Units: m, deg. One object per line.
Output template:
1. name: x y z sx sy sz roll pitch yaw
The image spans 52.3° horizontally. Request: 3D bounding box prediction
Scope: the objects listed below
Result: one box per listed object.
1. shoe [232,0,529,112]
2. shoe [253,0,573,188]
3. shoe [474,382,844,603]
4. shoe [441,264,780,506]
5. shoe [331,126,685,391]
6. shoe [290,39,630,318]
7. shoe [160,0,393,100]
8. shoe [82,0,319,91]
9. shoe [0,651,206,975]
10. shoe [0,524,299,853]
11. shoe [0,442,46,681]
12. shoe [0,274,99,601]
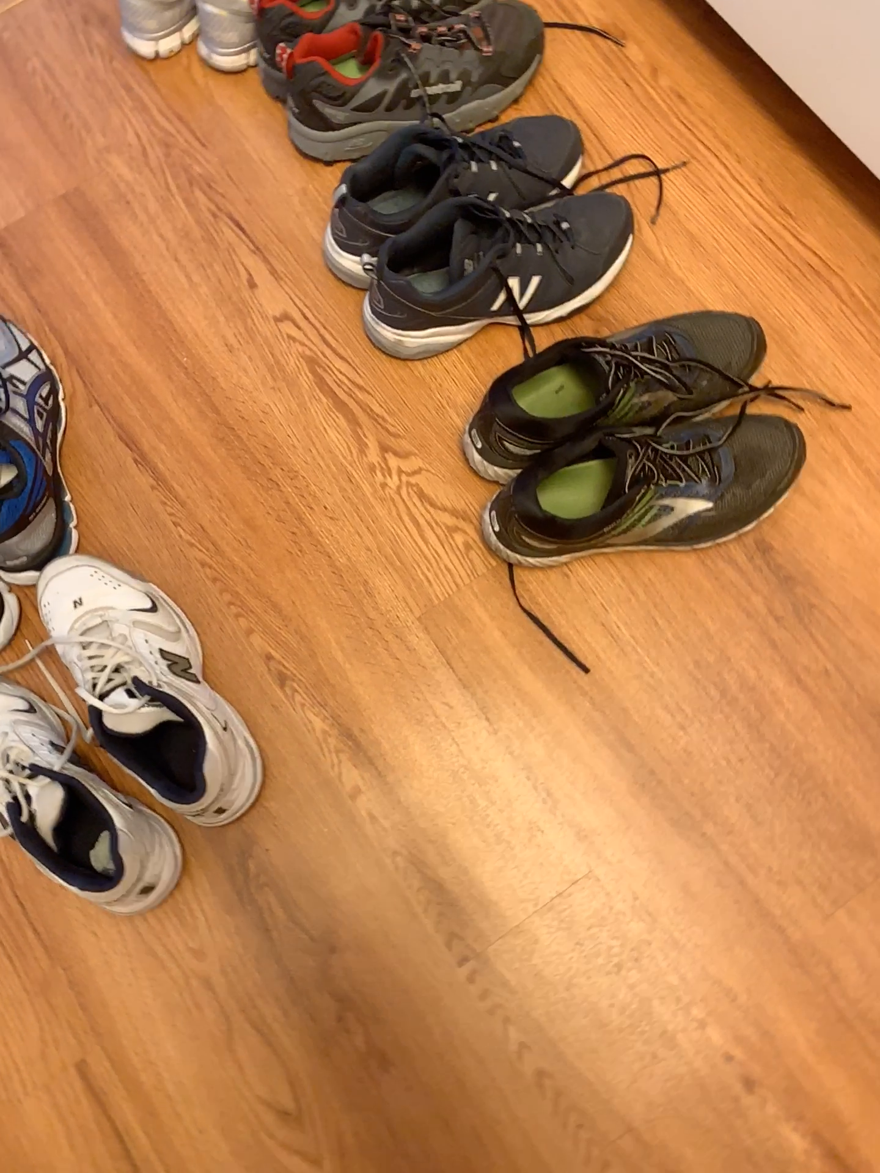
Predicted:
1. shoe: -0.063 -0.649 0.997 0.300 0.090 0.100 -21 75 -3
2. shoe: -0.028 -0.562 0.974 0.310 0.090 0.120 -21 75 -3
3. shoe: 0.197 -0.085 0.858 0.310 0.110 0.110 -14 75 -2
4. shoe: 0.157 -0.193 0.879 0.290 0.110 0.110 -19 75 -3
5. shoe: 0.064 -0.323 0.891 0.310 0.100 0.120 -21 76 -4
6. shoe: 0.021 -0.415 0.920 0.310 0.100 0.120 -27 76 -5
7. shoe: -0.185 -0.703 1.048 0.270 0.080 0.080 -43 78 -9
8. shoe: -0.277 -0.721 1.062 0.270 0.080 0.080 -43 78 -9
9. shoe: -0.362 0.197 0.802 0.270 0.130 0.110 39 80 11
10. shoe: -0.258 0.094 0.803 0.110 0.130 0.260 -37 77 -8
11. shoe: -0.542 -0.023 0.845 0.290 0.080 0.110 22 77 7
12. shoe: -0.431 -0.146 0.875 0.110 0.080 0.290 -17 75 -2
